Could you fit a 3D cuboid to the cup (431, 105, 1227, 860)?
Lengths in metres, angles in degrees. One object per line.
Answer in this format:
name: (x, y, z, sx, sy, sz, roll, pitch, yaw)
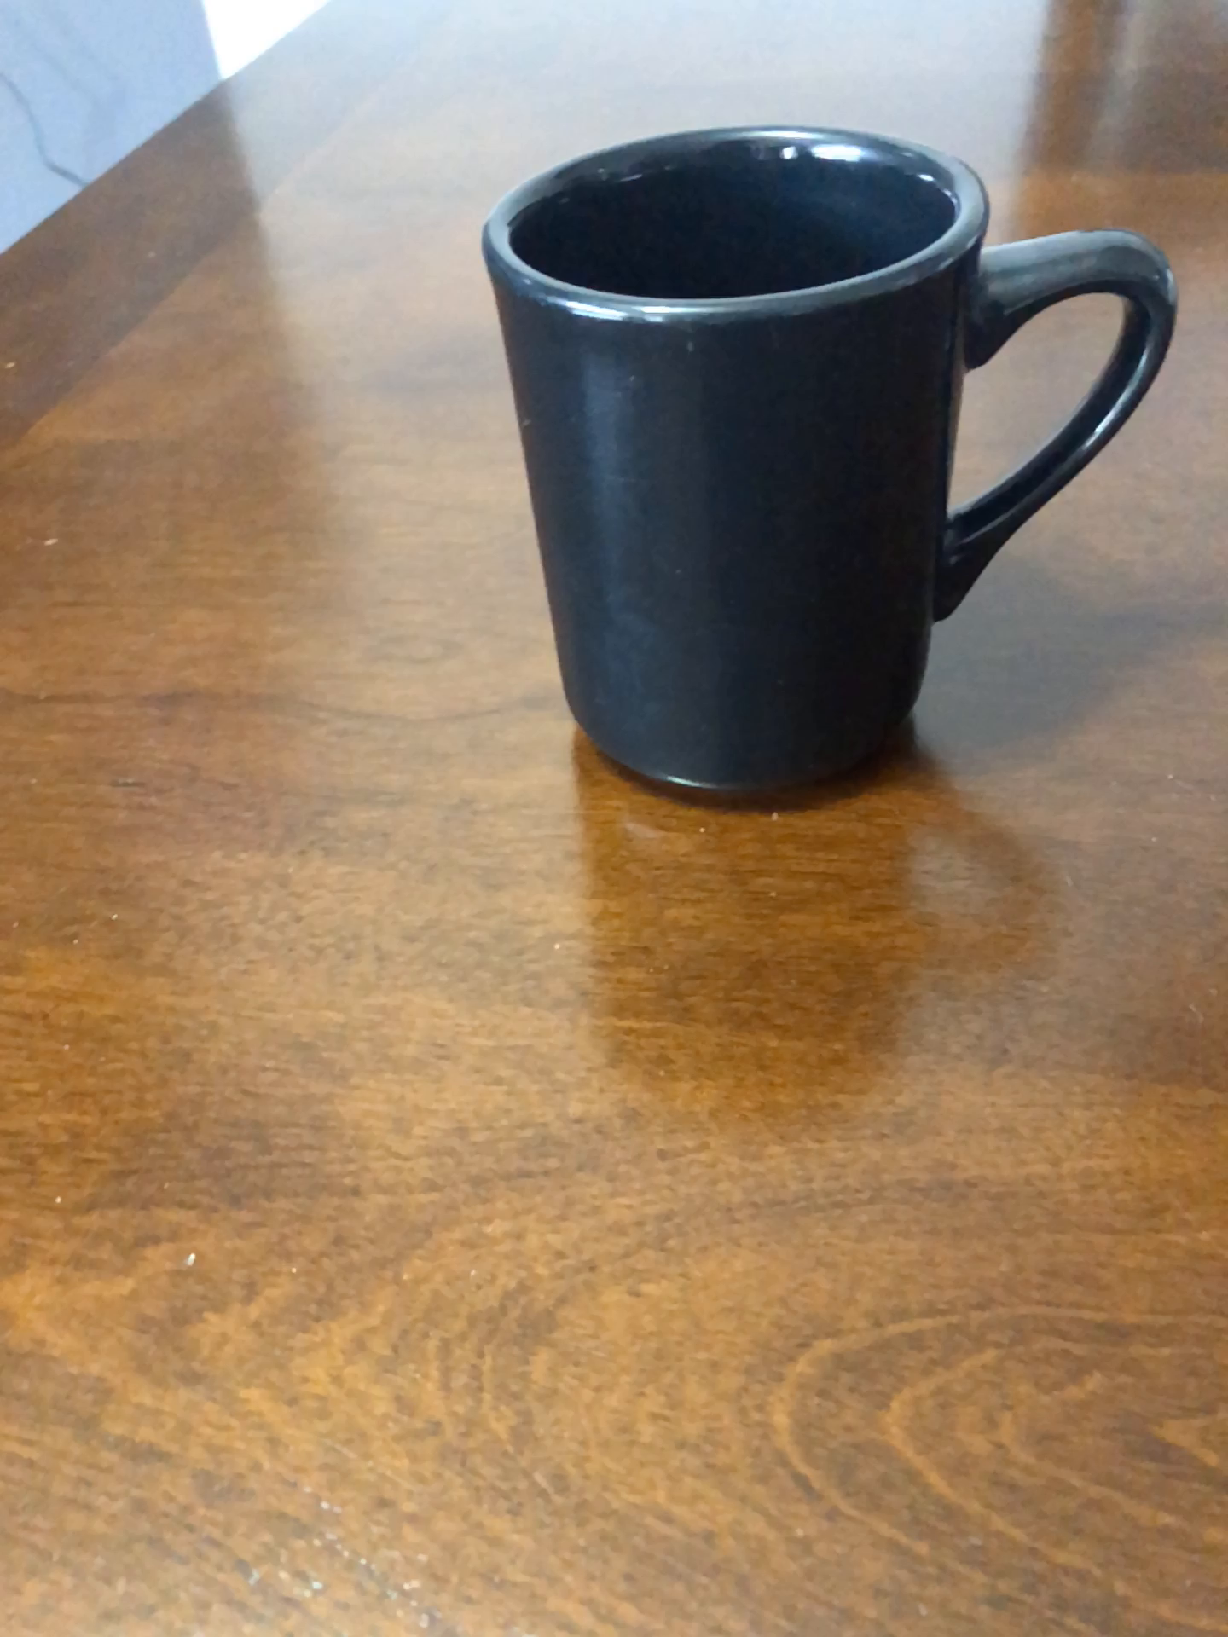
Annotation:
cup: (0.038, -0.060, 0.246, 0.120, 0.090, 0.090, -4, 43, 3)
